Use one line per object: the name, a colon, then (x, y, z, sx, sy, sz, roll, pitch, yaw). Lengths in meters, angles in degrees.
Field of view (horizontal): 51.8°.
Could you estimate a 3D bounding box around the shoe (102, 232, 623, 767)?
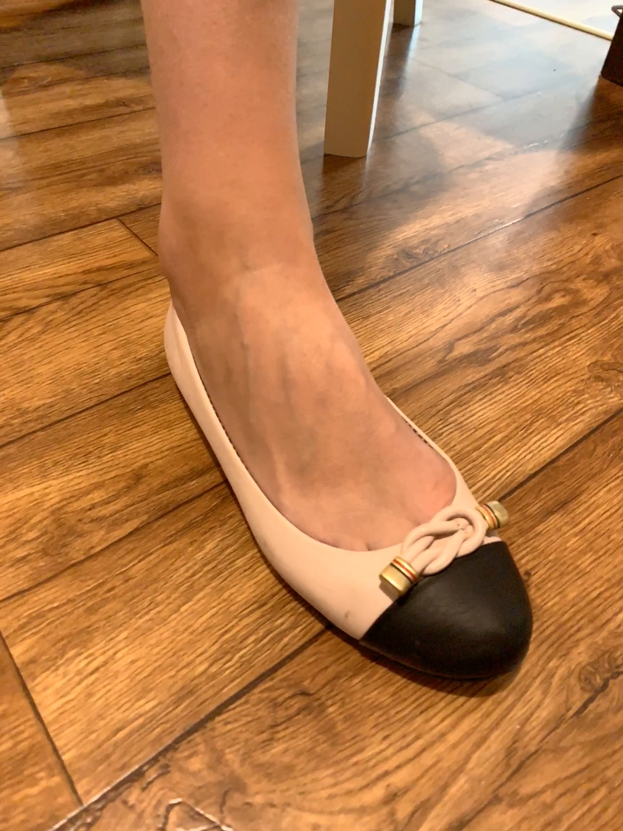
shoe: (0.002, 0.011, 0.266, 0.083, 0.059, 0.221, -25, 53, -26)
